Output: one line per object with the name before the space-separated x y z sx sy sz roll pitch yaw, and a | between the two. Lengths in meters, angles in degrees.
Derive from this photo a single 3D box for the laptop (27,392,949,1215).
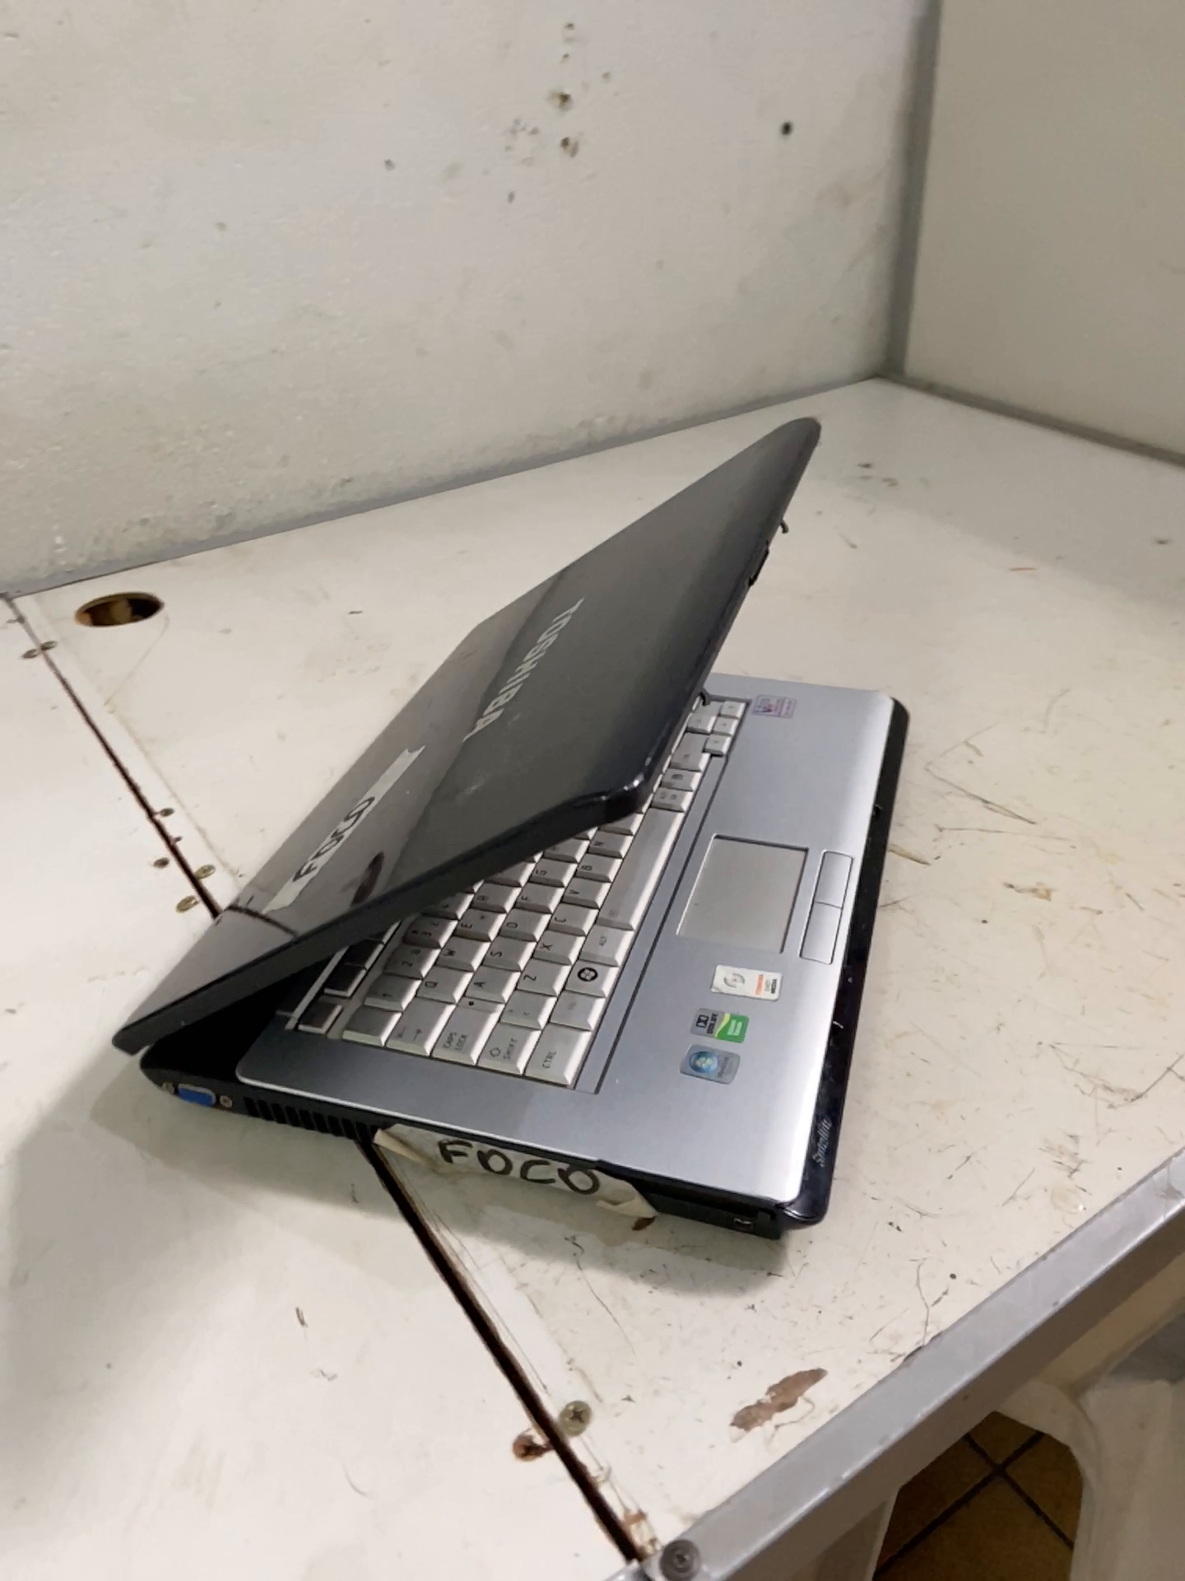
laptop | 0.000 -0.039 0.520 0.257 0.152 0.348 8 35 15
